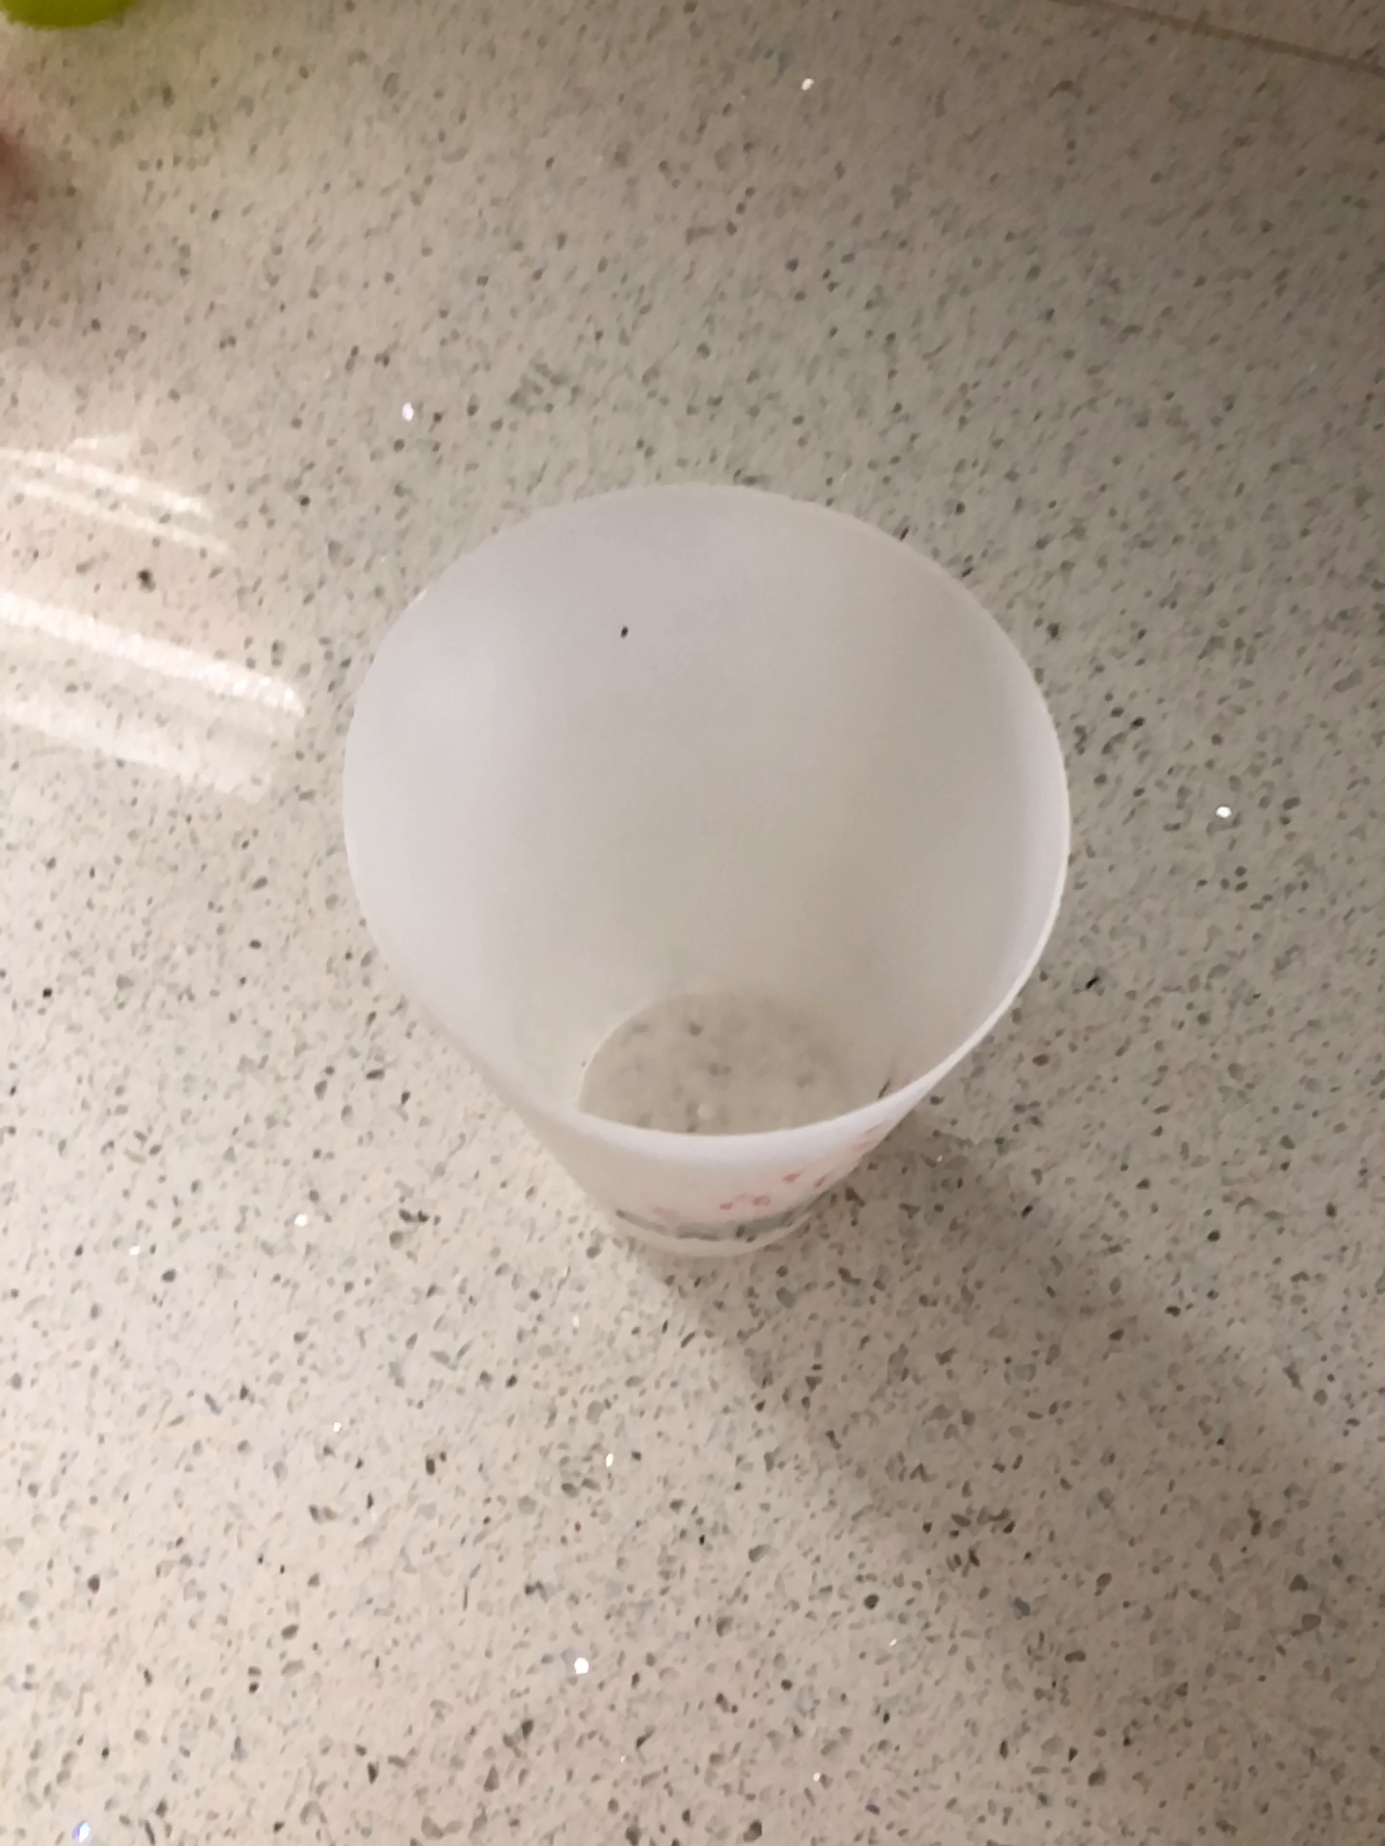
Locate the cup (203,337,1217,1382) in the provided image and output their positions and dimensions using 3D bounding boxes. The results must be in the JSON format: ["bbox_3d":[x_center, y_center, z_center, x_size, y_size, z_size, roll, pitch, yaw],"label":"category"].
[{"bbox_3d":[0.002,0.007,0.274,0.096,0.166,0.093,0,68,1],"label":"cup"}]
